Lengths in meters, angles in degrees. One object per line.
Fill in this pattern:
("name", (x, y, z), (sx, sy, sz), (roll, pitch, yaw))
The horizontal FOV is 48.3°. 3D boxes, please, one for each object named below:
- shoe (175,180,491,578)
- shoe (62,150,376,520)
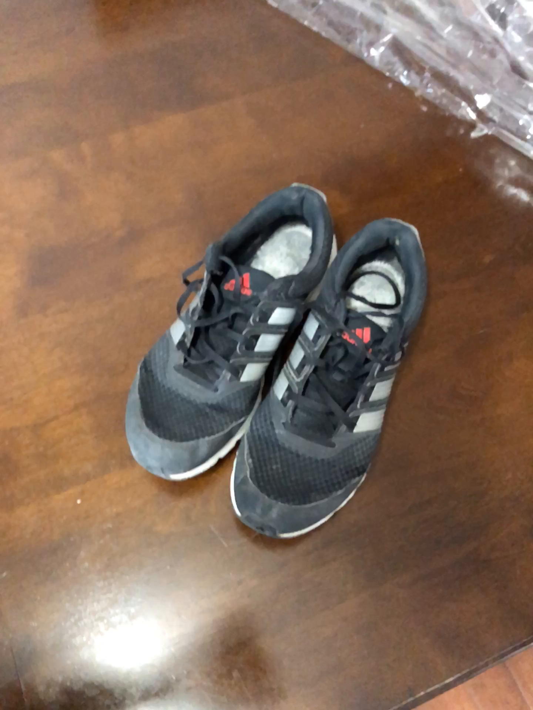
("shoe", (0.059, 0.018, 0.503), (0.120, 0.130, 0.290), (28, 68, 10))
("shoe", (-0.028, -0.021, 0.533), (0.120, 0.120, 0.290), (28, 68, 10))
